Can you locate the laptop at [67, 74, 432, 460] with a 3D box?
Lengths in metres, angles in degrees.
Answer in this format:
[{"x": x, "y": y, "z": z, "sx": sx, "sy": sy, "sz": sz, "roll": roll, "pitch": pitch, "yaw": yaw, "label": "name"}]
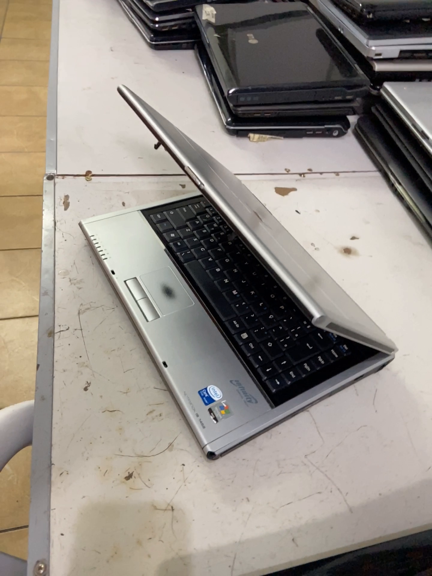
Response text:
[{"x": 0.021, "y": -0.054, "z": 0.460, "sx": 0.228, "sy": 0.164, "sz": 0.331, "roll": -20, "pitch": 54, "yaw": -24, "label": "laptop"}]
